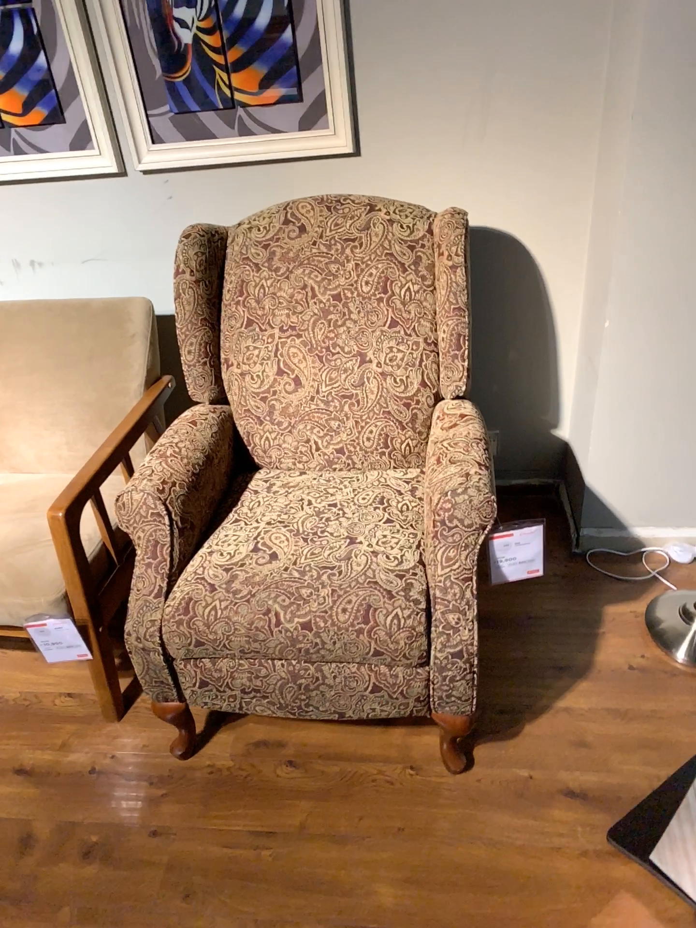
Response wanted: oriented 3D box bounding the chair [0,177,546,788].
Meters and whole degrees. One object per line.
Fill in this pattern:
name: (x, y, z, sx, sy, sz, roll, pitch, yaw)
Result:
chair: (-0.051, 0.015, 1.472, 0.750, 0.956, 0.763, 0, 34, 8)
